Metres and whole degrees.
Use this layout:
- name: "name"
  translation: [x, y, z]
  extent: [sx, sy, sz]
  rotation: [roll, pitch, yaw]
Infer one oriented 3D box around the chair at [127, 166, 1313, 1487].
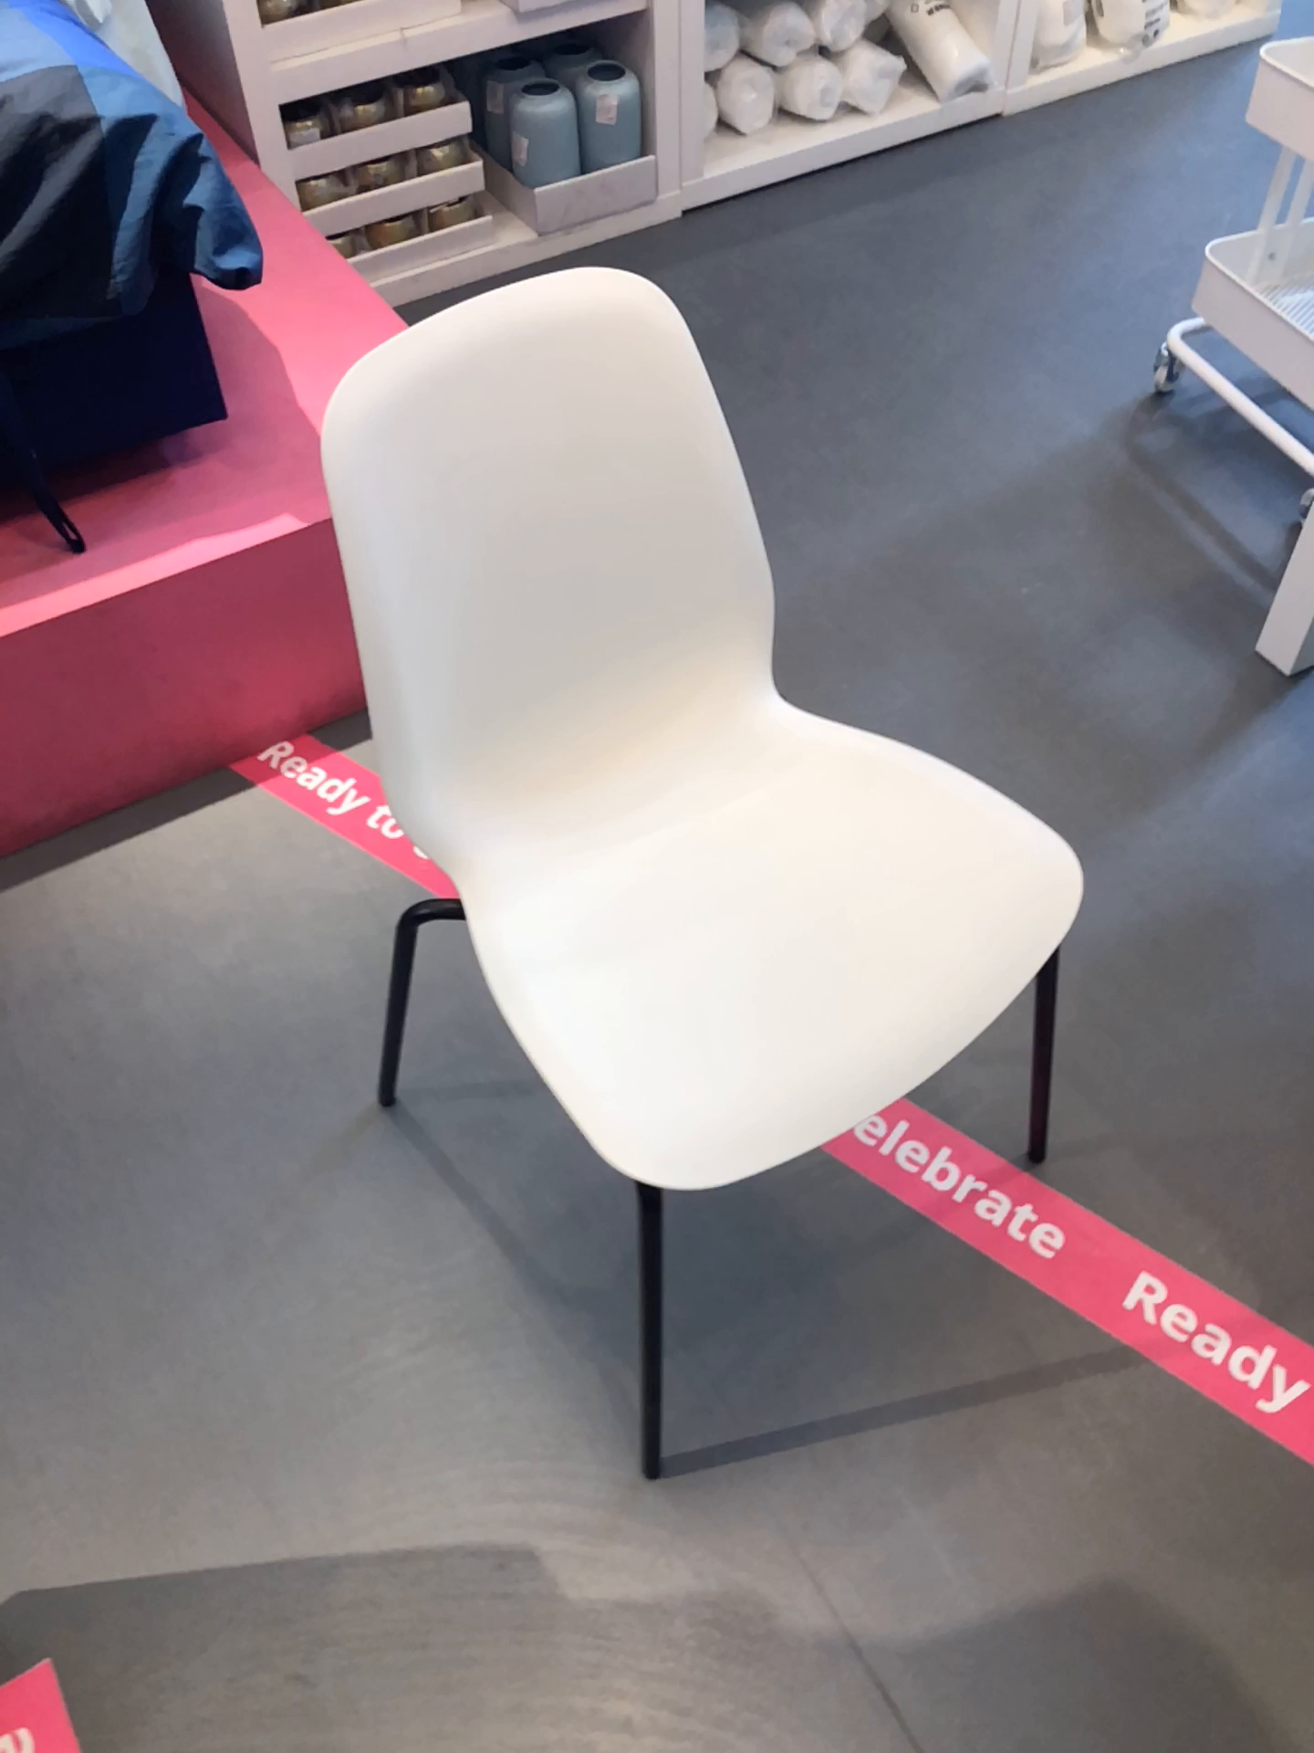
- name: "chair"
  translation: [0.043, -0.010, 1.128]
  extent: [0.511, 0.756, 0.492]
  rotation: [-32, 56, -23]
